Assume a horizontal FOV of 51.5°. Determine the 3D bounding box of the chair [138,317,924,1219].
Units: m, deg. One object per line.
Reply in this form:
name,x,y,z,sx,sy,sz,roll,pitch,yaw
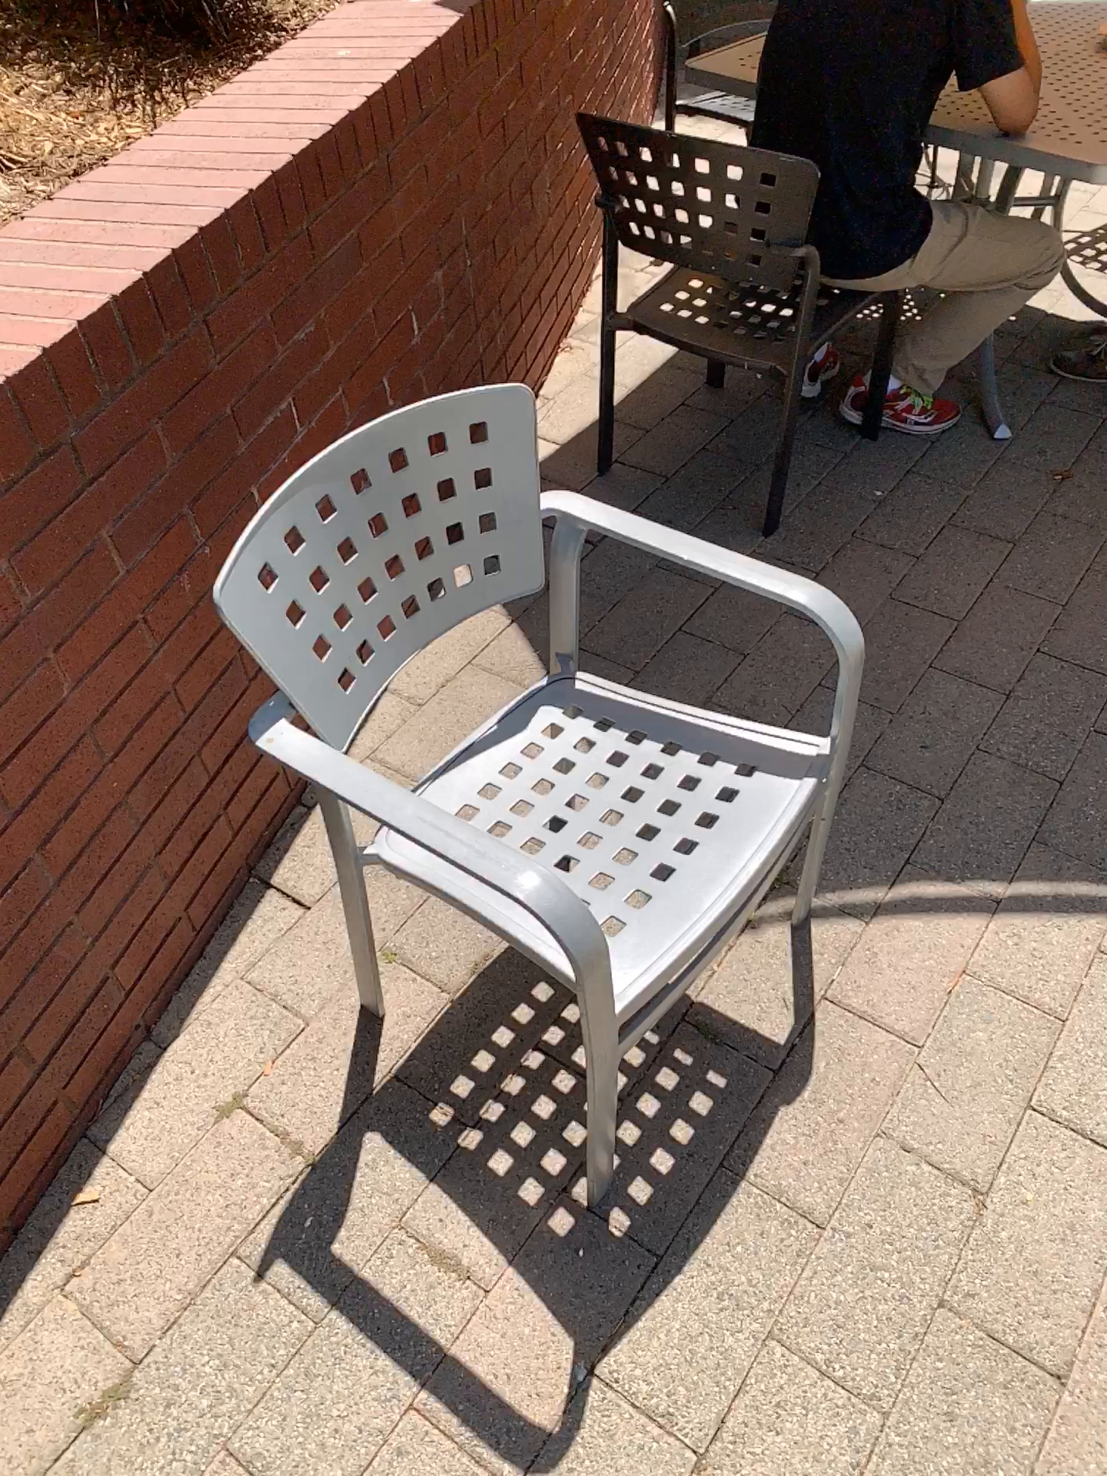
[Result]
chair,0.017,0.029,1.306,0.493,0.718,0.558,24,52,27
